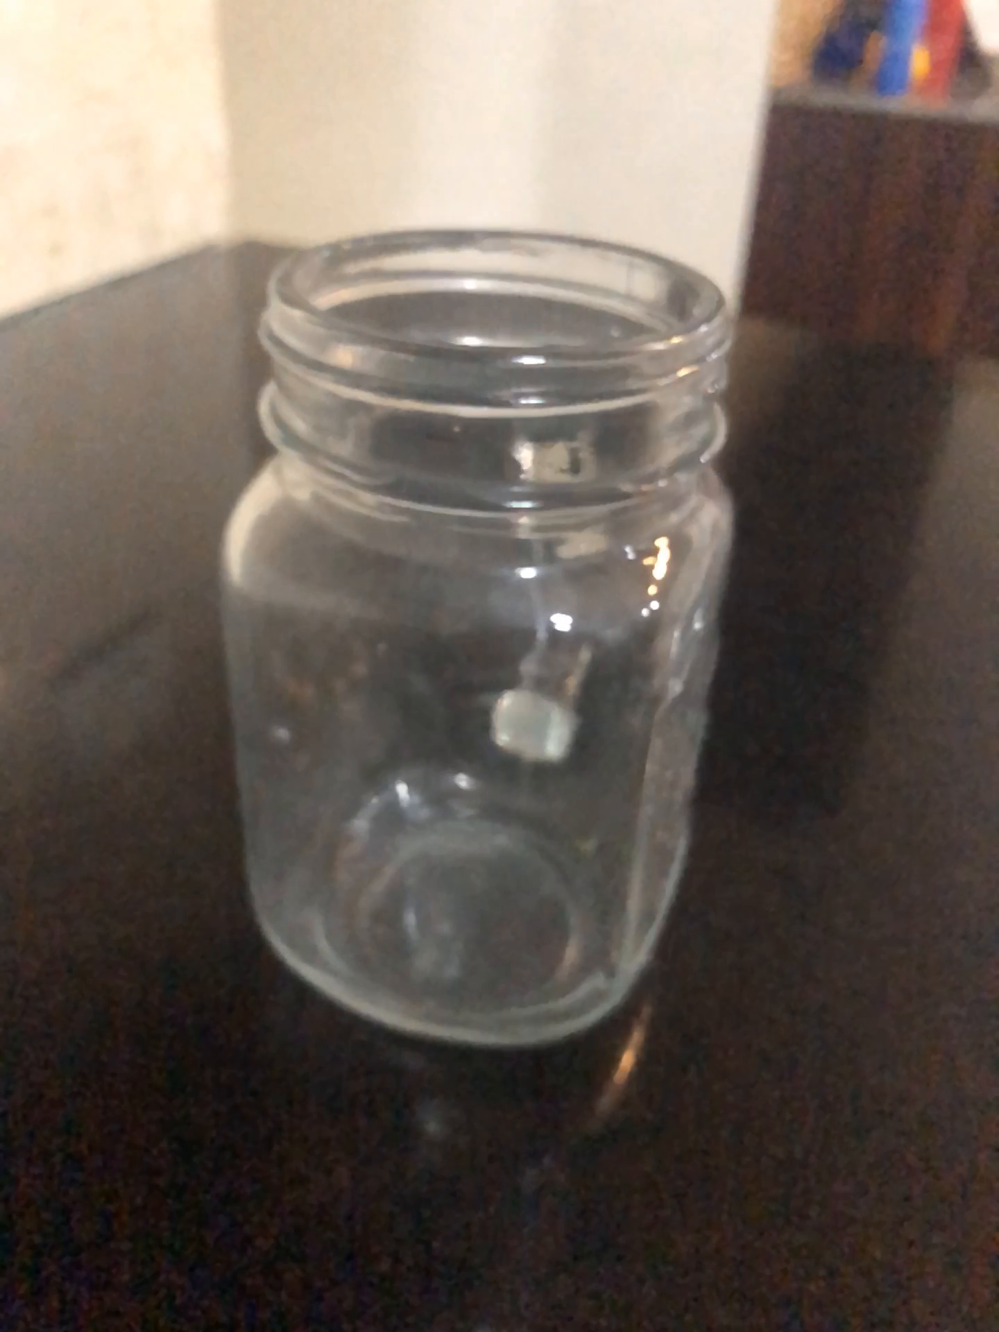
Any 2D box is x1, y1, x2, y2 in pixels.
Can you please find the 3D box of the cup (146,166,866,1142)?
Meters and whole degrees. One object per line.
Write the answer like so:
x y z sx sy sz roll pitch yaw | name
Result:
0.009 -0.011 0.213 0.080 0.129 0.111 13 34 15 | cup
